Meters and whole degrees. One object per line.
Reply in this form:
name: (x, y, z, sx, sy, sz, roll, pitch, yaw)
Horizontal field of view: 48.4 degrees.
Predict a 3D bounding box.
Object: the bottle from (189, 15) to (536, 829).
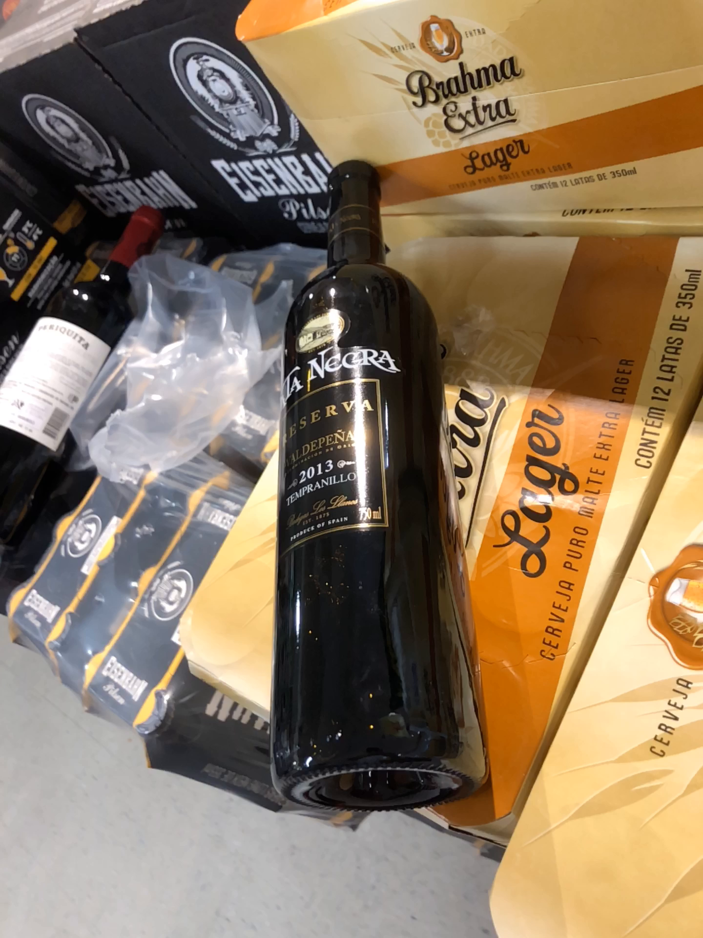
bottle: (0.001, -0.054, 0.355, 0.080, 0.080, 0.382, -21, 51, 26)
